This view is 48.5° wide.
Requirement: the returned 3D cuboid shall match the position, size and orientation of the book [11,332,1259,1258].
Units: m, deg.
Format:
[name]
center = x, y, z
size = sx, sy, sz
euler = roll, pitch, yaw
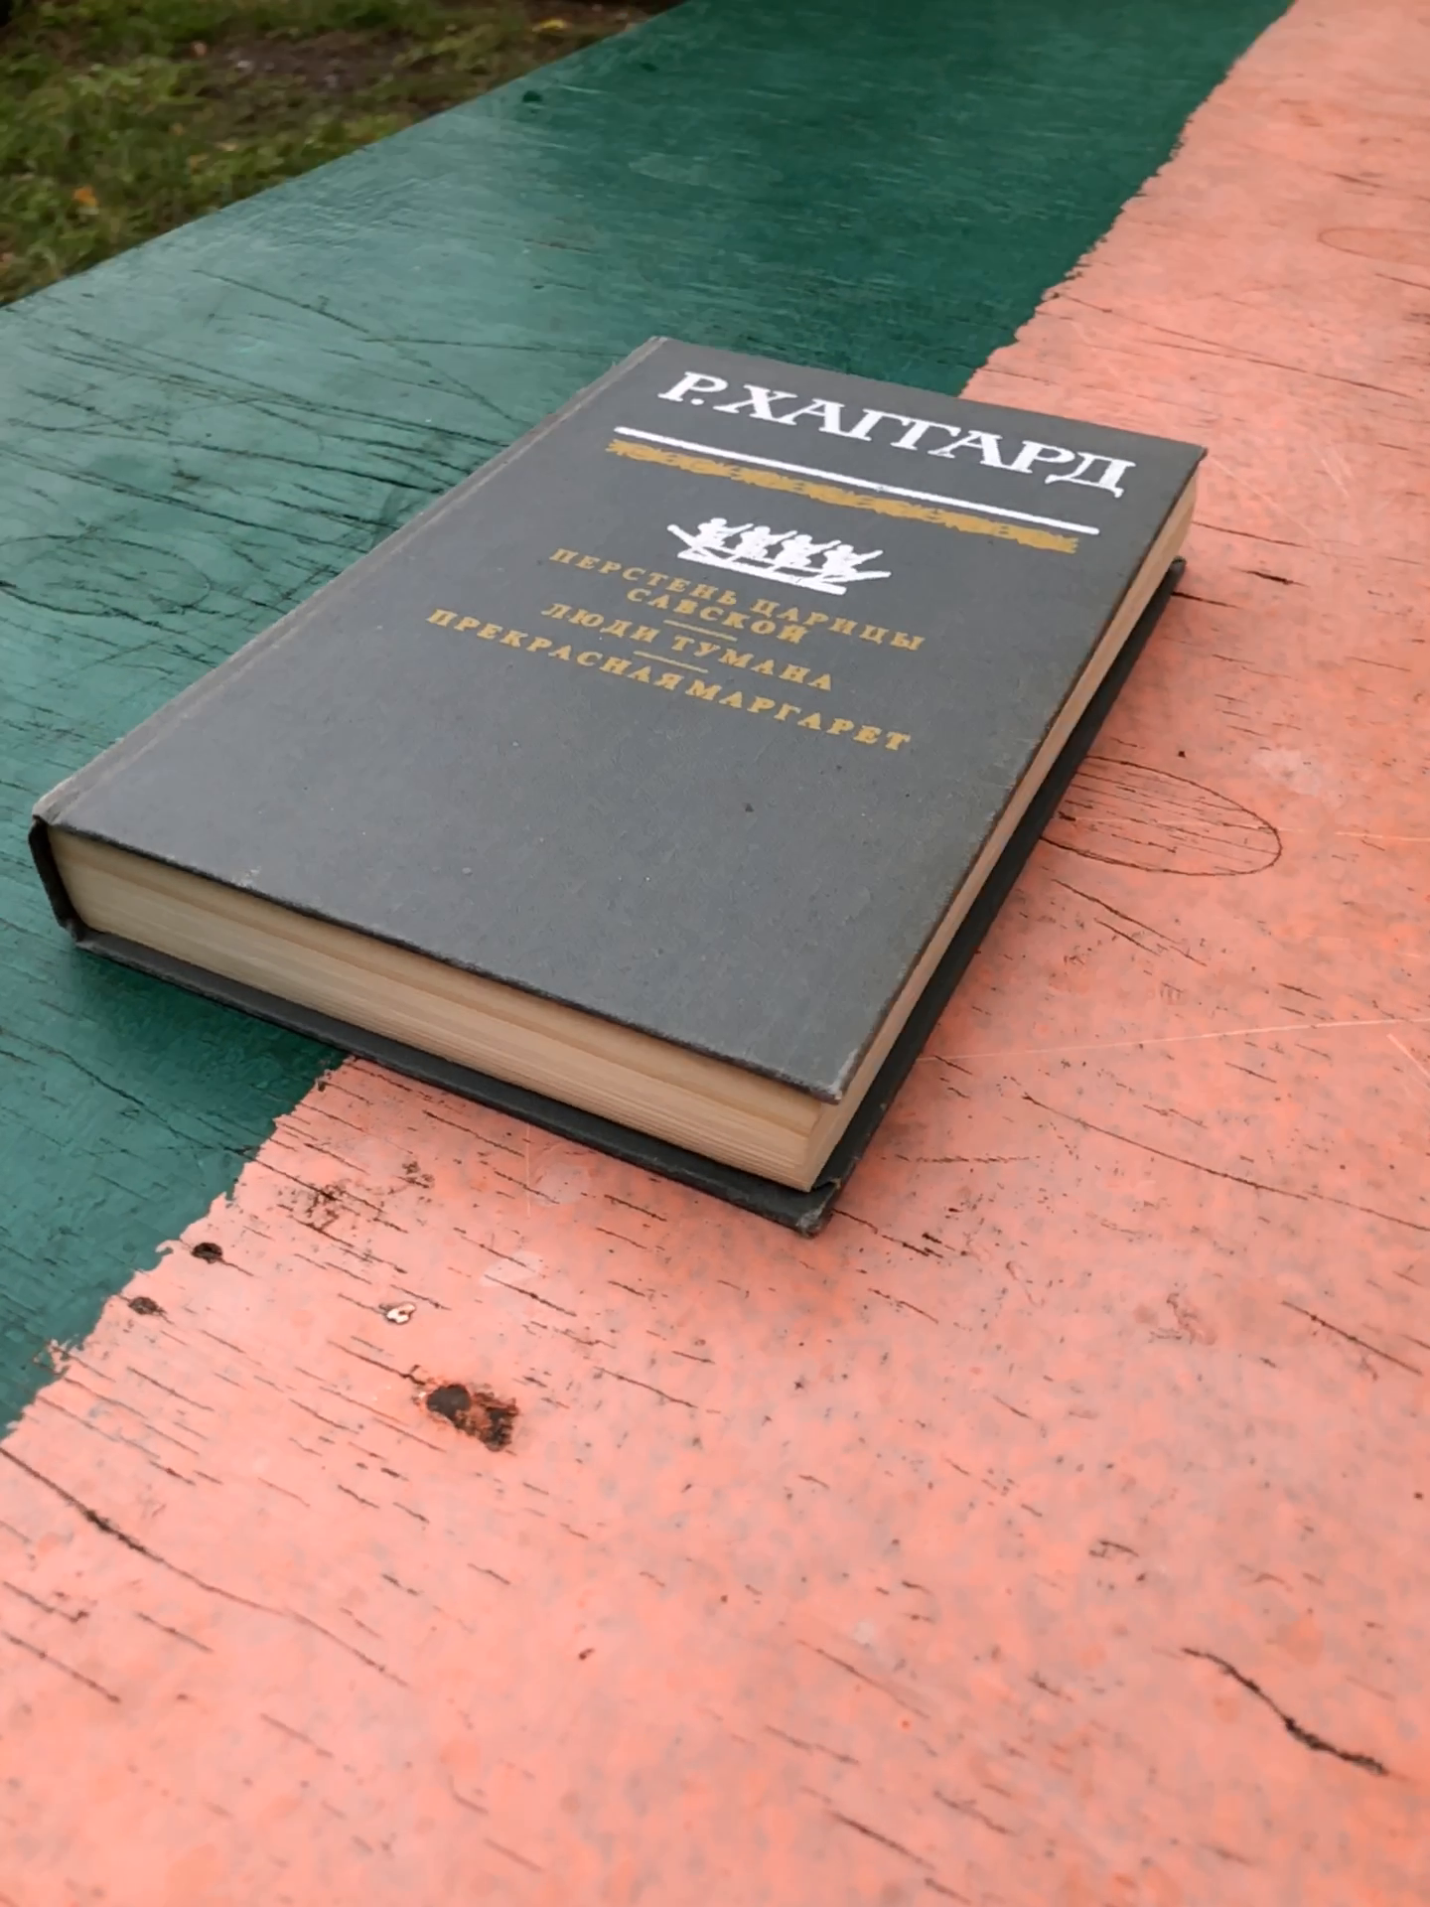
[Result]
[book]
center = 0.004, -0.057, 0.312
size = 0.150, 0.030, 0.222
euler = 18, 45, 19
